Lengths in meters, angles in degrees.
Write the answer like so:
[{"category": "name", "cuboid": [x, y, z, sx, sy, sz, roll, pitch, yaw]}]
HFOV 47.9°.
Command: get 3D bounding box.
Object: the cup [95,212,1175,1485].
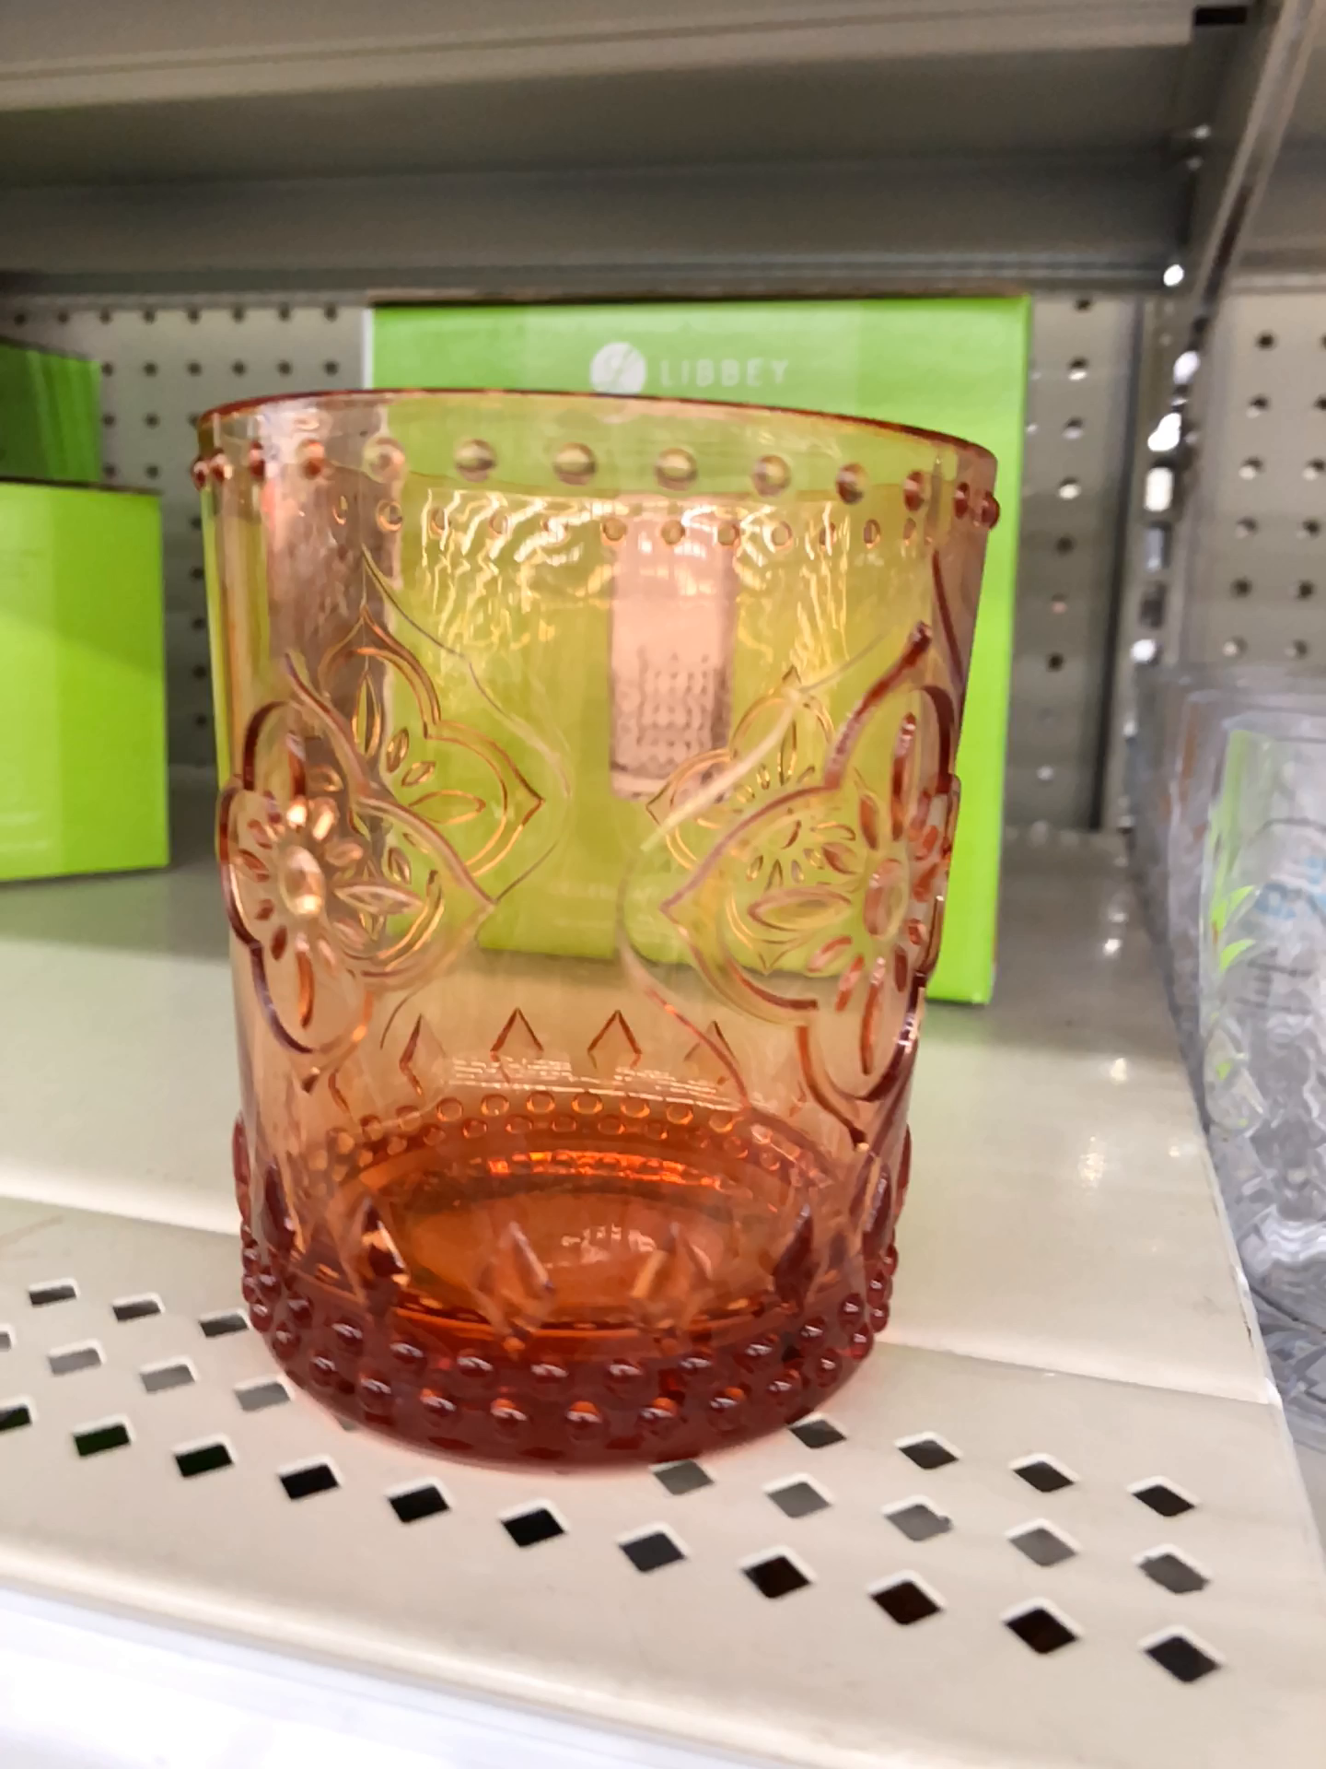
[{"category": "cup", "cuboid": [-0.007, -0.005, 0.172, 0.090, 0.110, 0.080, 1, 10, -7]}]
